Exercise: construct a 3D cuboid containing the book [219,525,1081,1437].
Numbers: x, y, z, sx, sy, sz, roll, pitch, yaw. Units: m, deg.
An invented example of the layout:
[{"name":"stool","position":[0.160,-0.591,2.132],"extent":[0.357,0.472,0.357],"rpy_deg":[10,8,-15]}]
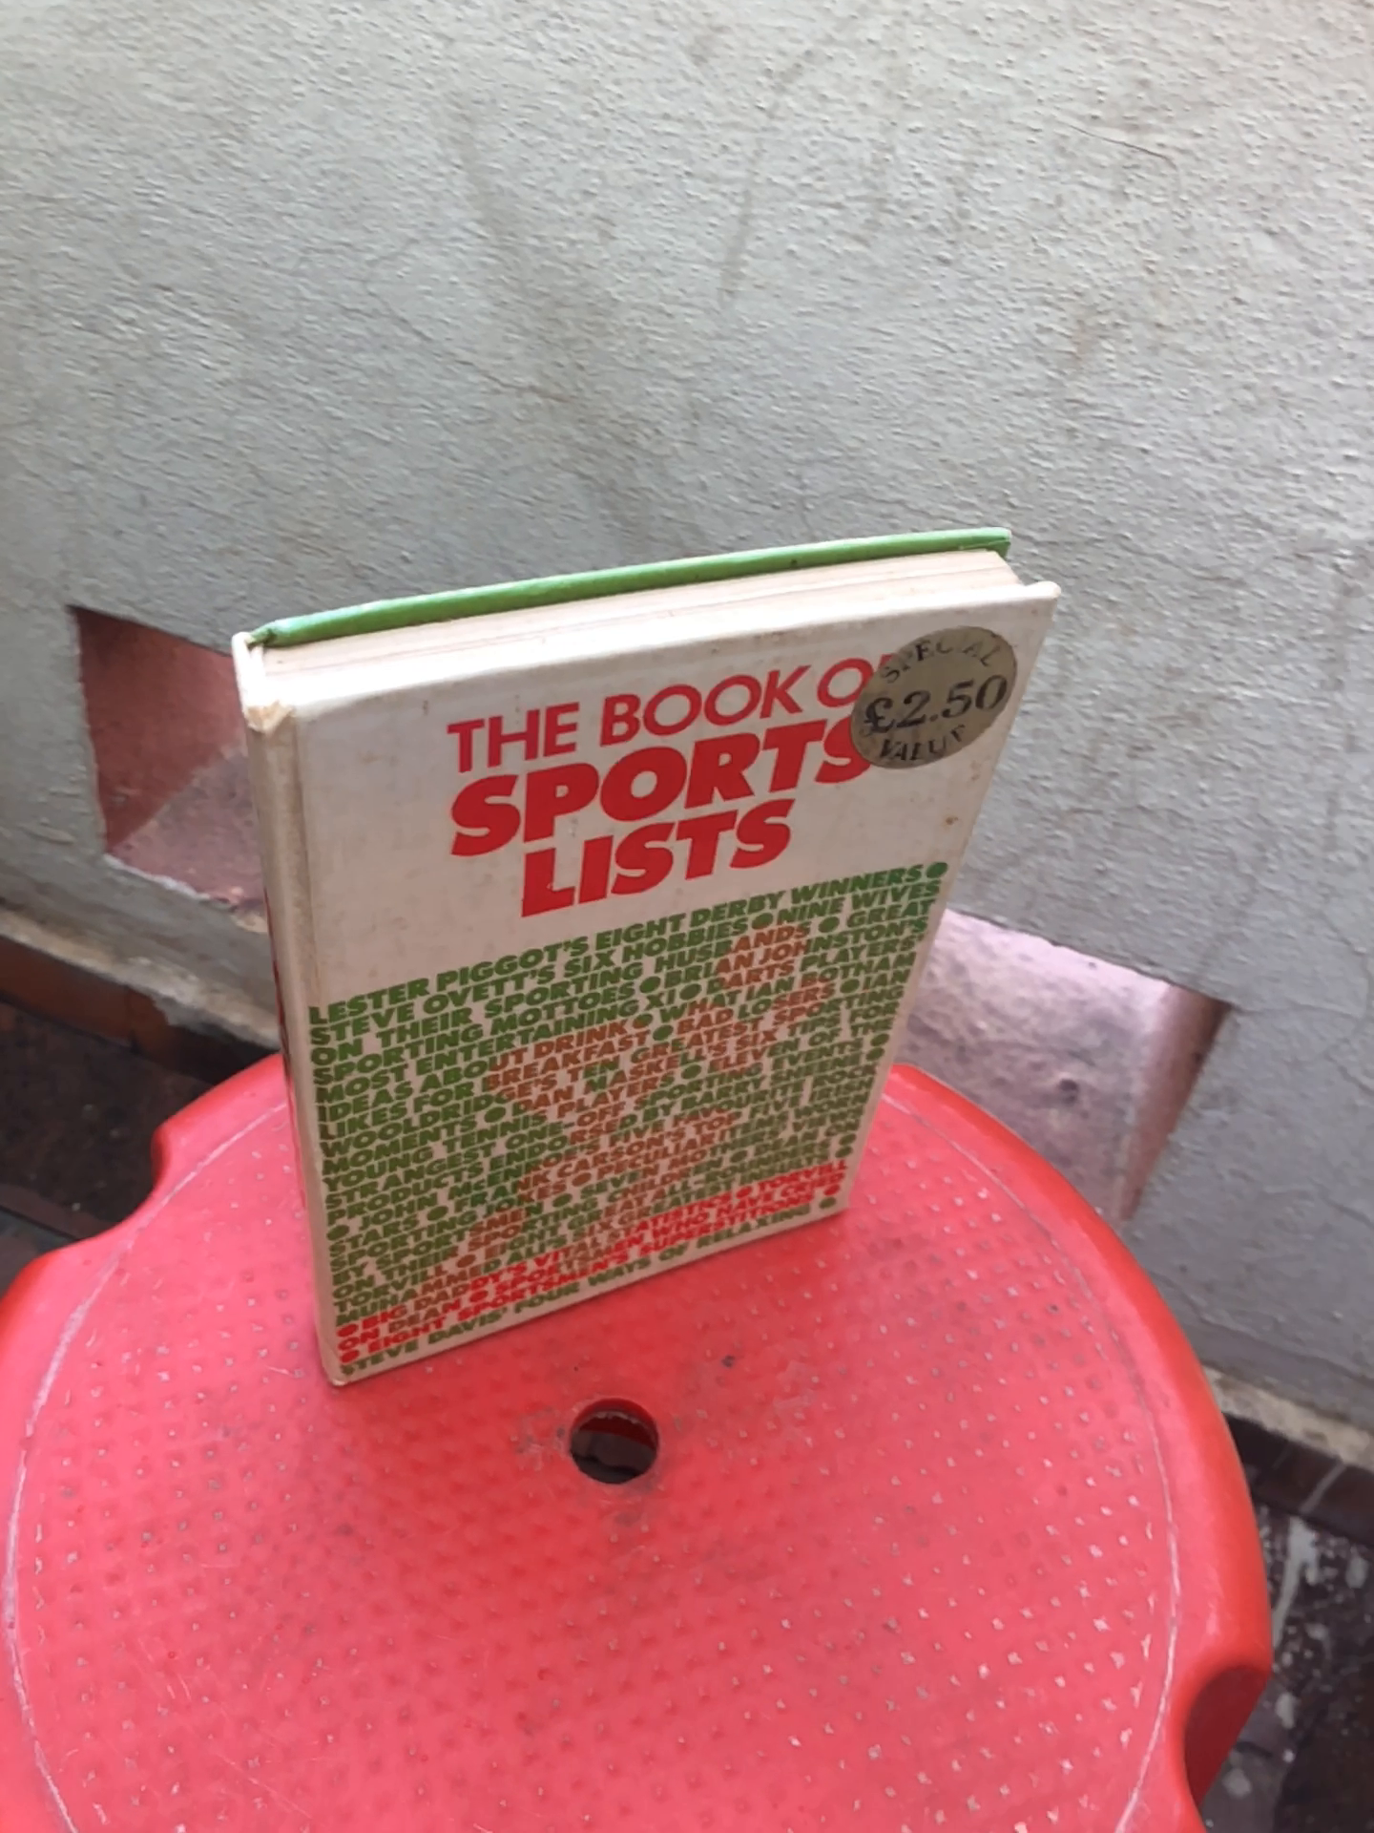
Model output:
[{"name":"book","position":[-0.015,0.026,0.340],"extent":[0.150,0.219,0.030],"rpy_deg":[-13,48,-22]}]
